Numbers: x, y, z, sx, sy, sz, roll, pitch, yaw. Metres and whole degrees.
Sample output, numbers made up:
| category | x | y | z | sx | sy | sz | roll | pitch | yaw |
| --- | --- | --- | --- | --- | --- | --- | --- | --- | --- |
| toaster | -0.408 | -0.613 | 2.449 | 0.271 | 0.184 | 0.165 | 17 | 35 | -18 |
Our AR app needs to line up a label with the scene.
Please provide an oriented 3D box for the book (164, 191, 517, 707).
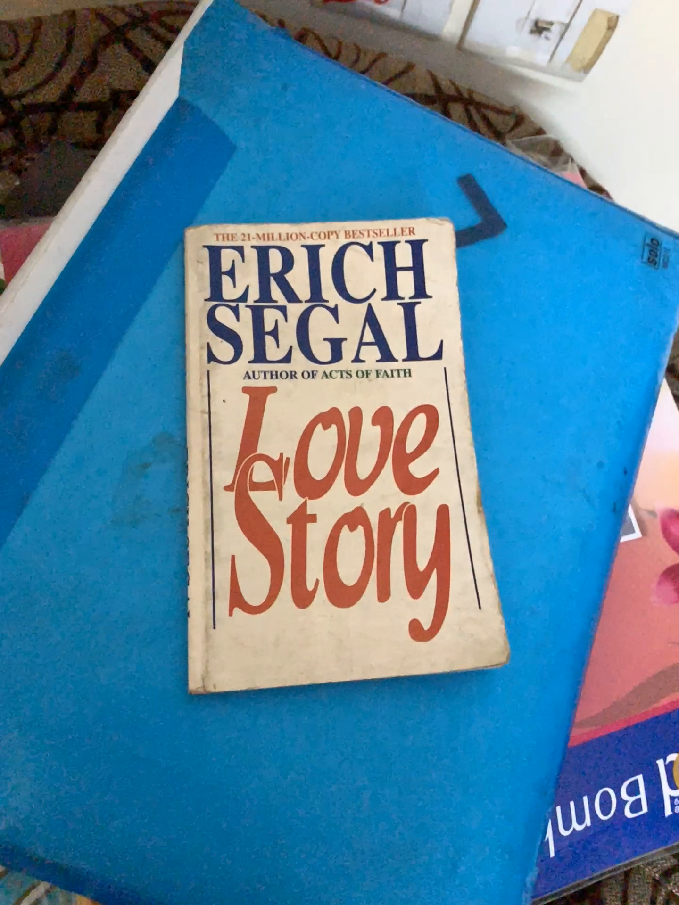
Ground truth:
| category | x | y | z | sx | sy | sz | roll | pitch | yaw |
| --- | --- | --- | --- | --- | --- | --- | --- | --- | --- |
| book | -0.005 | -0.009 | 0.255 | 0.110 | 0.020 | 0.180 | -1 | 73 | -11 |
